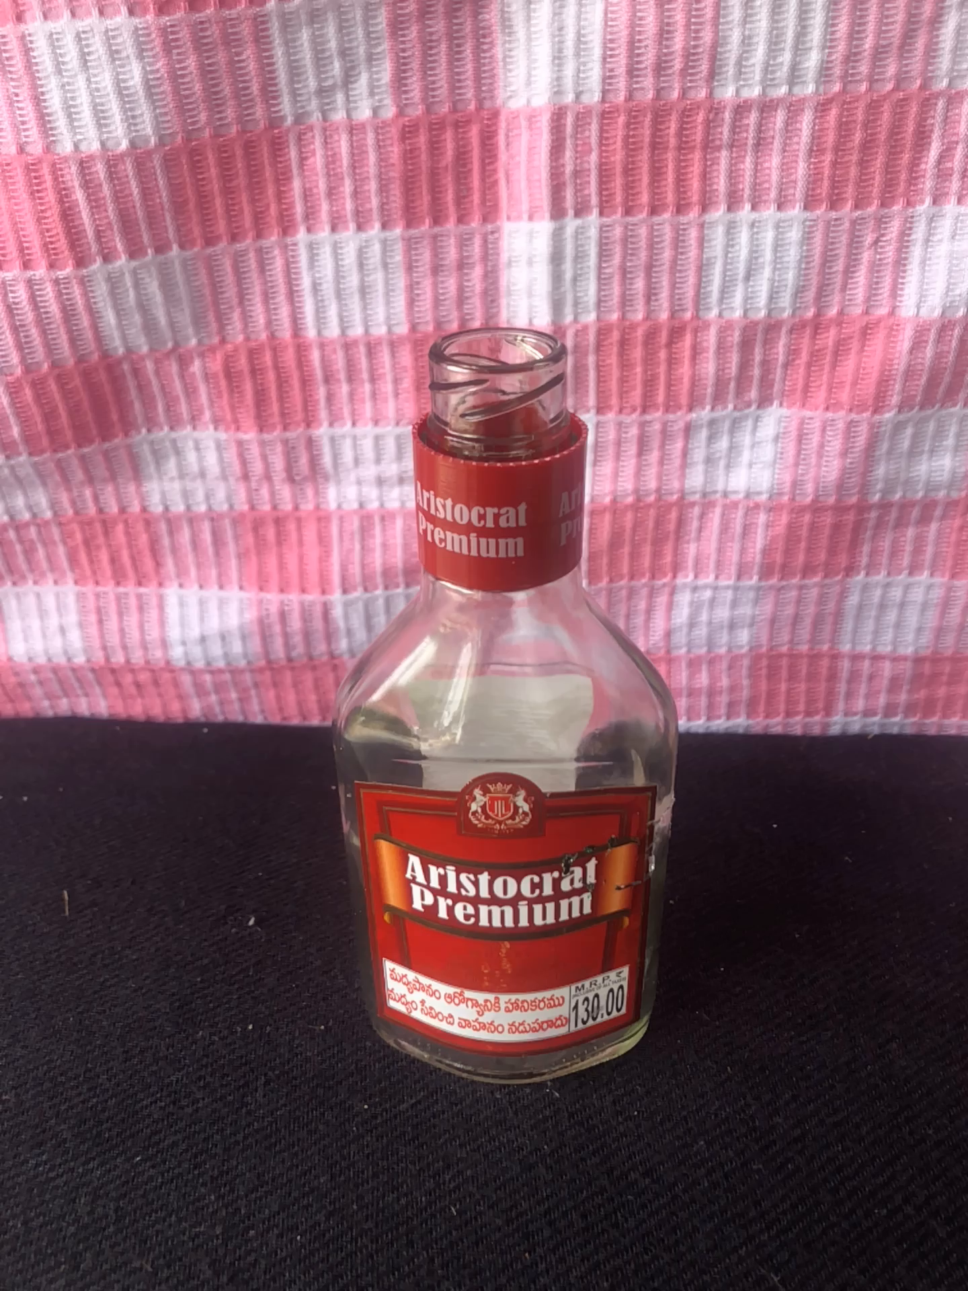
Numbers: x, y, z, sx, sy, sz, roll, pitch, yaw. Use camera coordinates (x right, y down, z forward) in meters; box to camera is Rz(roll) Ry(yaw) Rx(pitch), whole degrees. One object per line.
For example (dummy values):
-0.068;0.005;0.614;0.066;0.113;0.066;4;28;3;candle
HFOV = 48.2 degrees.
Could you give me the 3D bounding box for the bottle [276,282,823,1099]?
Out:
0.009;0.016;0.201;0.070;0.149;0.050;2;34;2;bottle
